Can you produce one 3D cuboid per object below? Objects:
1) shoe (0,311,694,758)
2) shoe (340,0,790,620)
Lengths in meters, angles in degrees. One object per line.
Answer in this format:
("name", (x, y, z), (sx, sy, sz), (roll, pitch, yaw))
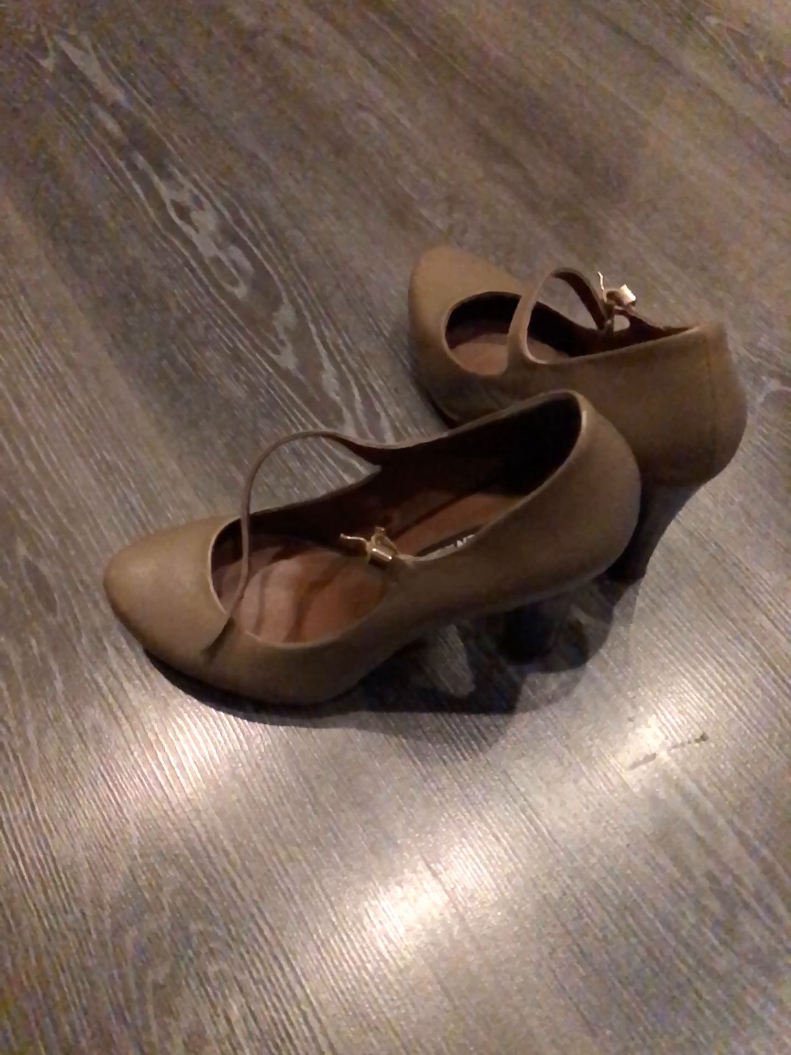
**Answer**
("shoe", (-0.020, 0.012, 0.325), (0.210, 0.149, 0.090), (4, 61, 4))
("shoe", (0.070, -0.094, 0.385), (0.090, 0.149, 0.211), (-27, 64, -13))
